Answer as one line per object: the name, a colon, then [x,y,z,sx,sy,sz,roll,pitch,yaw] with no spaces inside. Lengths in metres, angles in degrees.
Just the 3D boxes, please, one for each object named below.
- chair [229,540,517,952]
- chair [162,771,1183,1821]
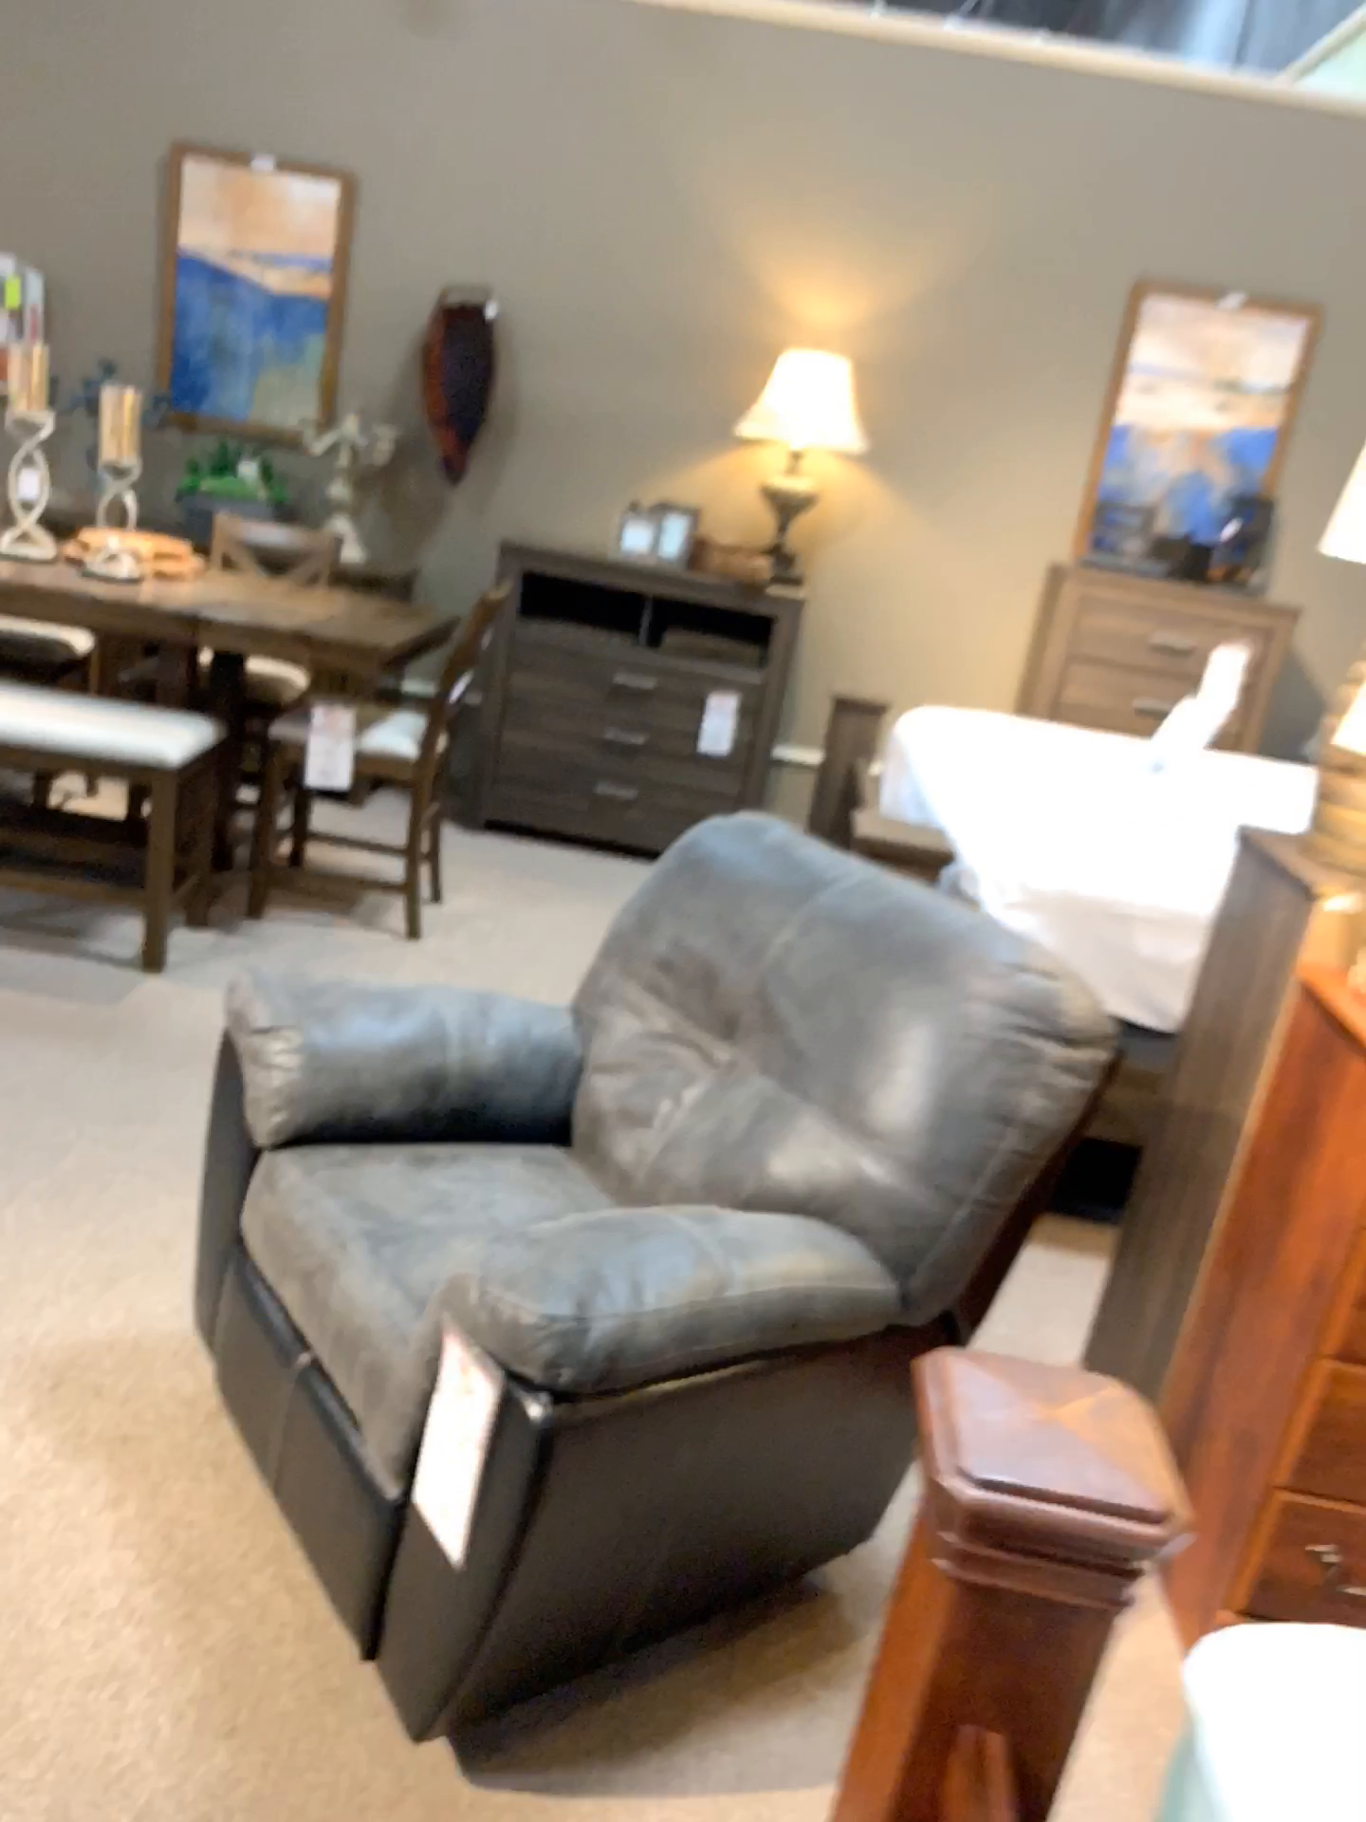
chair: [-0.873,-0.482,4.027,0.624,1.003,0.490,9,17,-3]
chair: [-0.105,0.389,1.982,0.905,0.924,0.991,-3,21,-35]
